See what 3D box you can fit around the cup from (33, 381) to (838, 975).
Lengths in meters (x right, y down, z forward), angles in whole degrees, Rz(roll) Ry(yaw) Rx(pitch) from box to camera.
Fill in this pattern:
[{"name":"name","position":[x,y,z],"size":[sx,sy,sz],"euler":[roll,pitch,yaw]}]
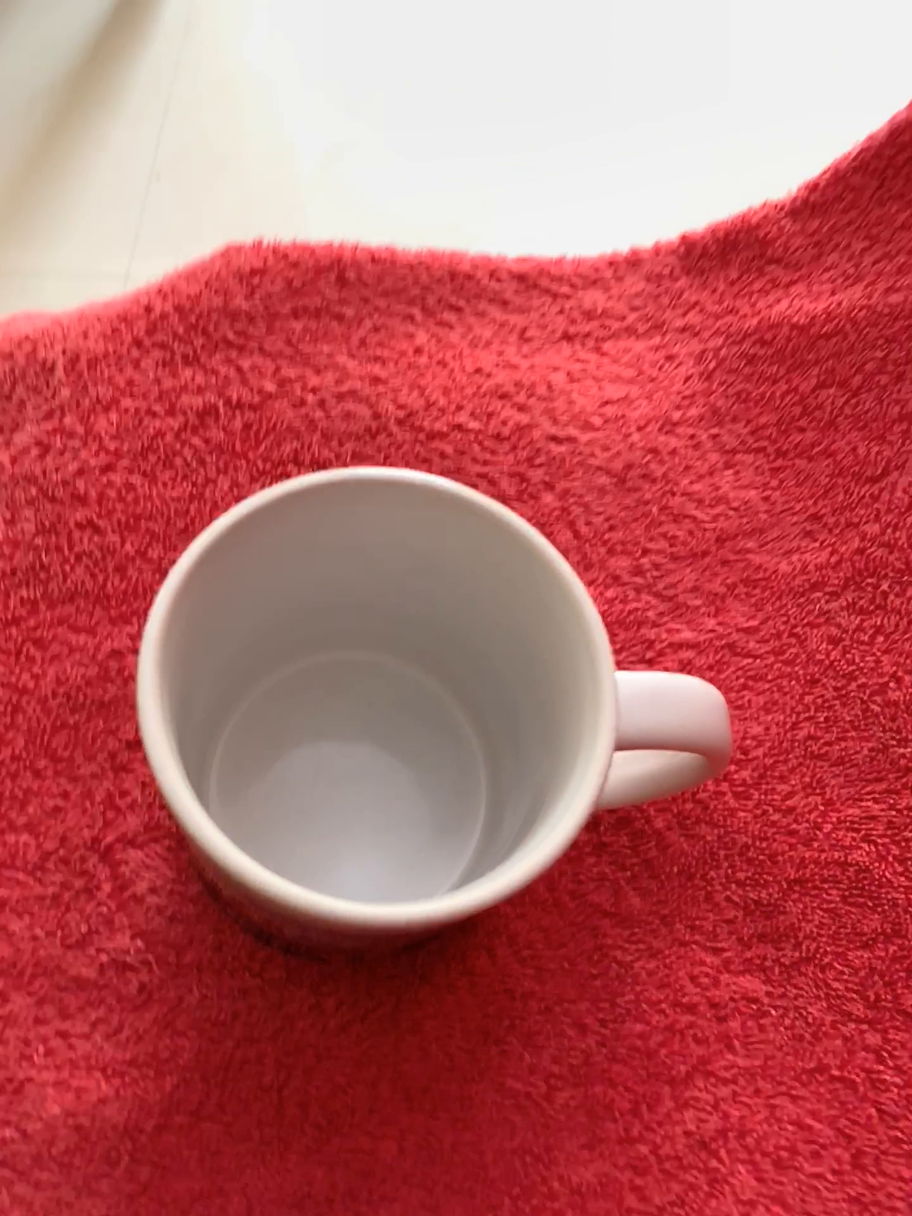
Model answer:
[{"name":"cup","position":[-0.004,0.023,0.197],"size":[0.120,0.090,0.090],"euler":[5,70,-6]}]
